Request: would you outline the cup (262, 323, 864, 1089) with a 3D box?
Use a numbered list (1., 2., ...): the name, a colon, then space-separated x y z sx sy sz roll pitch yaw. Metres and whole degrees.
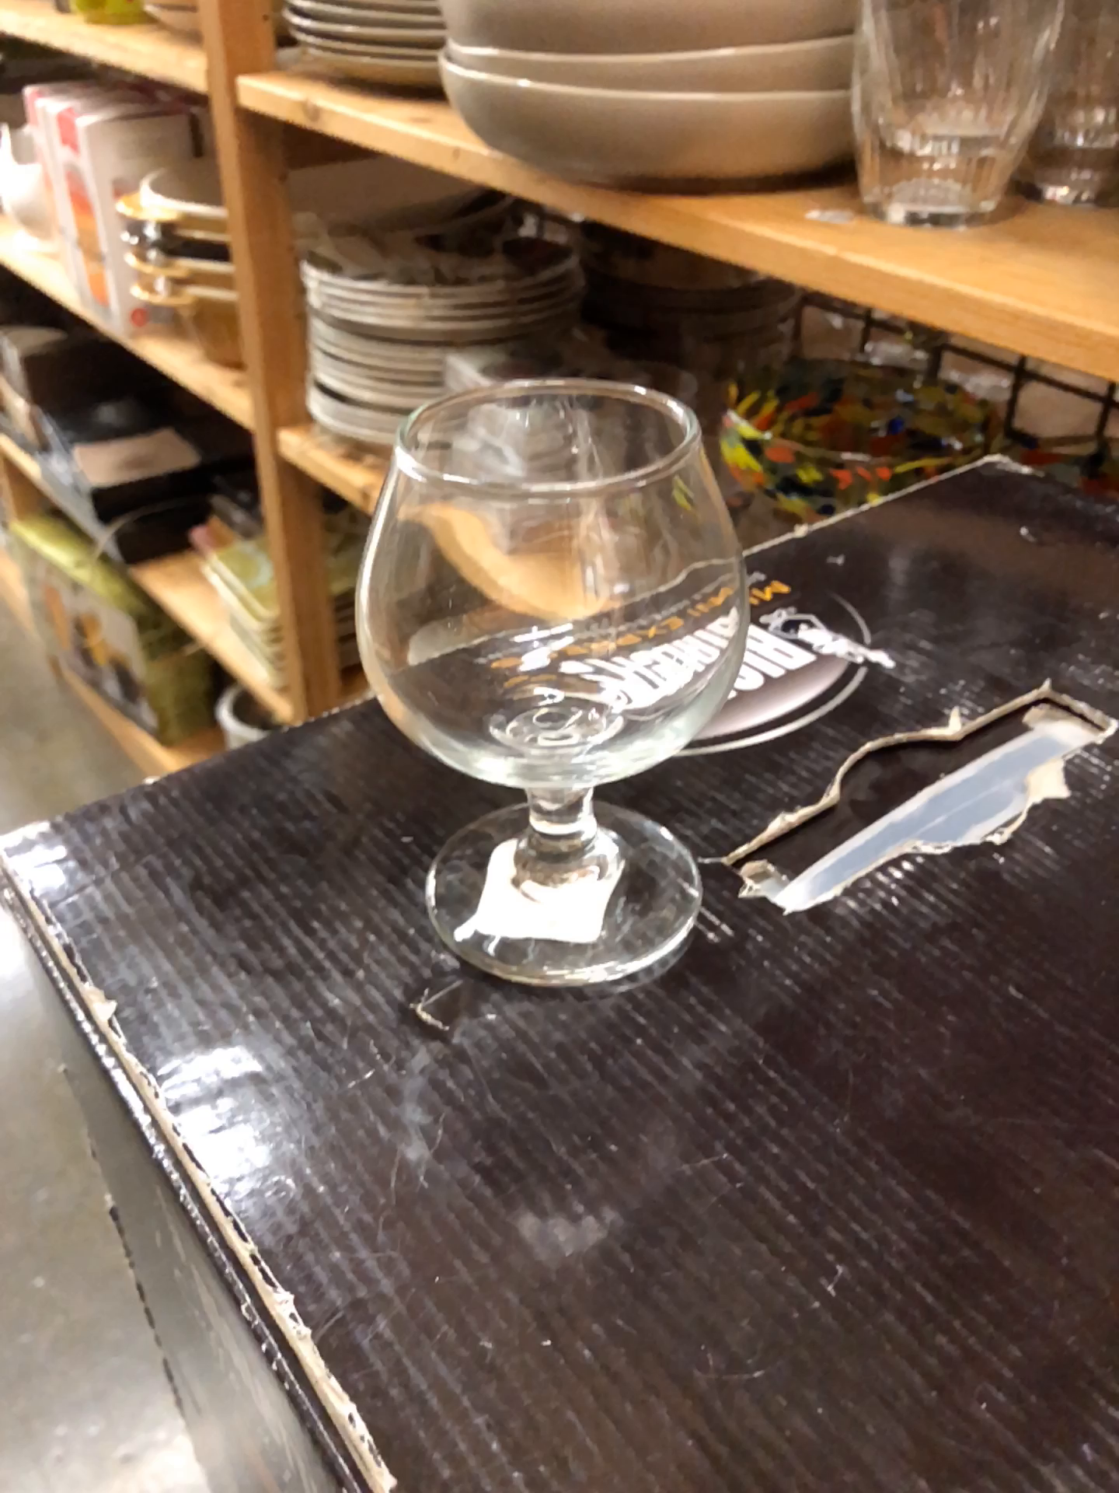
1. cup: -0.002 -0.010 0.231 0.071 0.106 0.069 0 36 0
